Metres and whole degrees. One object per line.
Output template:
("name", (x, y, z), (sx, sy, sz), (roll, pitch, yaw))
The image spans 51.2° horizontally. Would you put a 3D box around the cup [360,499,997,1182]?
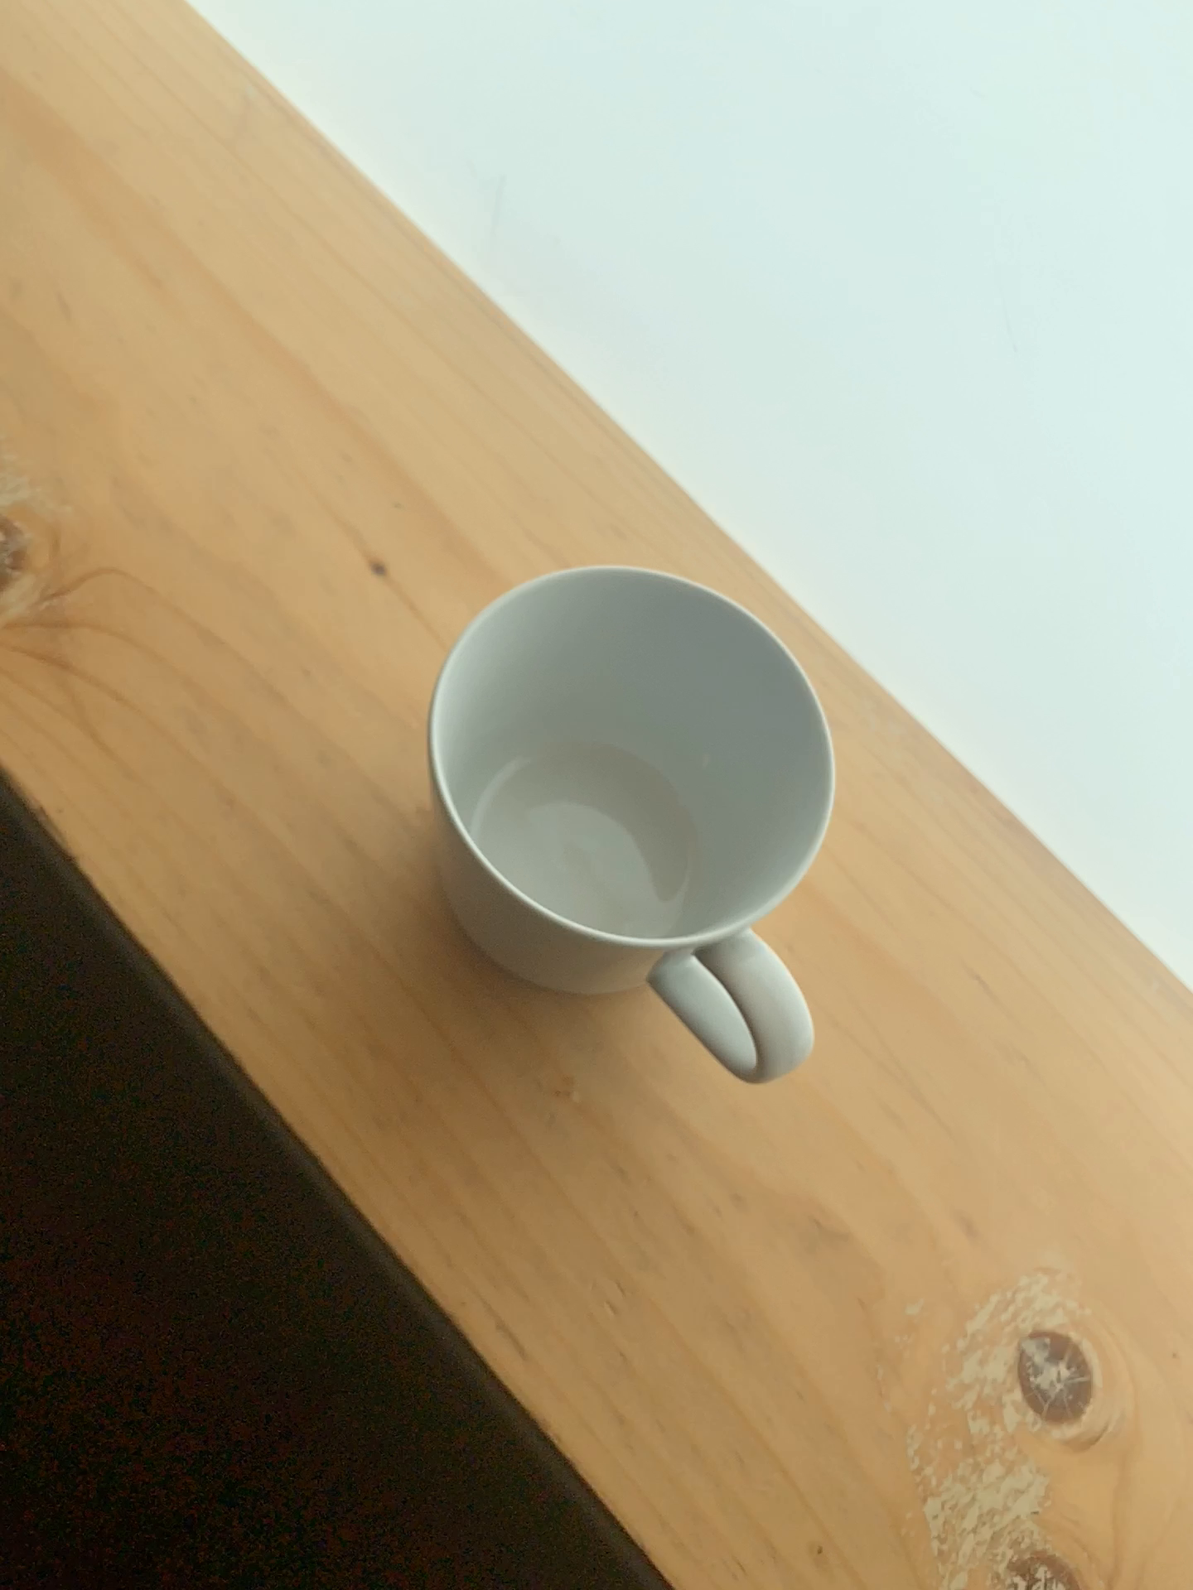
("cup", (0.012, 0.013, 0.321), (0.090, 0.080, 0.130), (-30, 75, -21))
